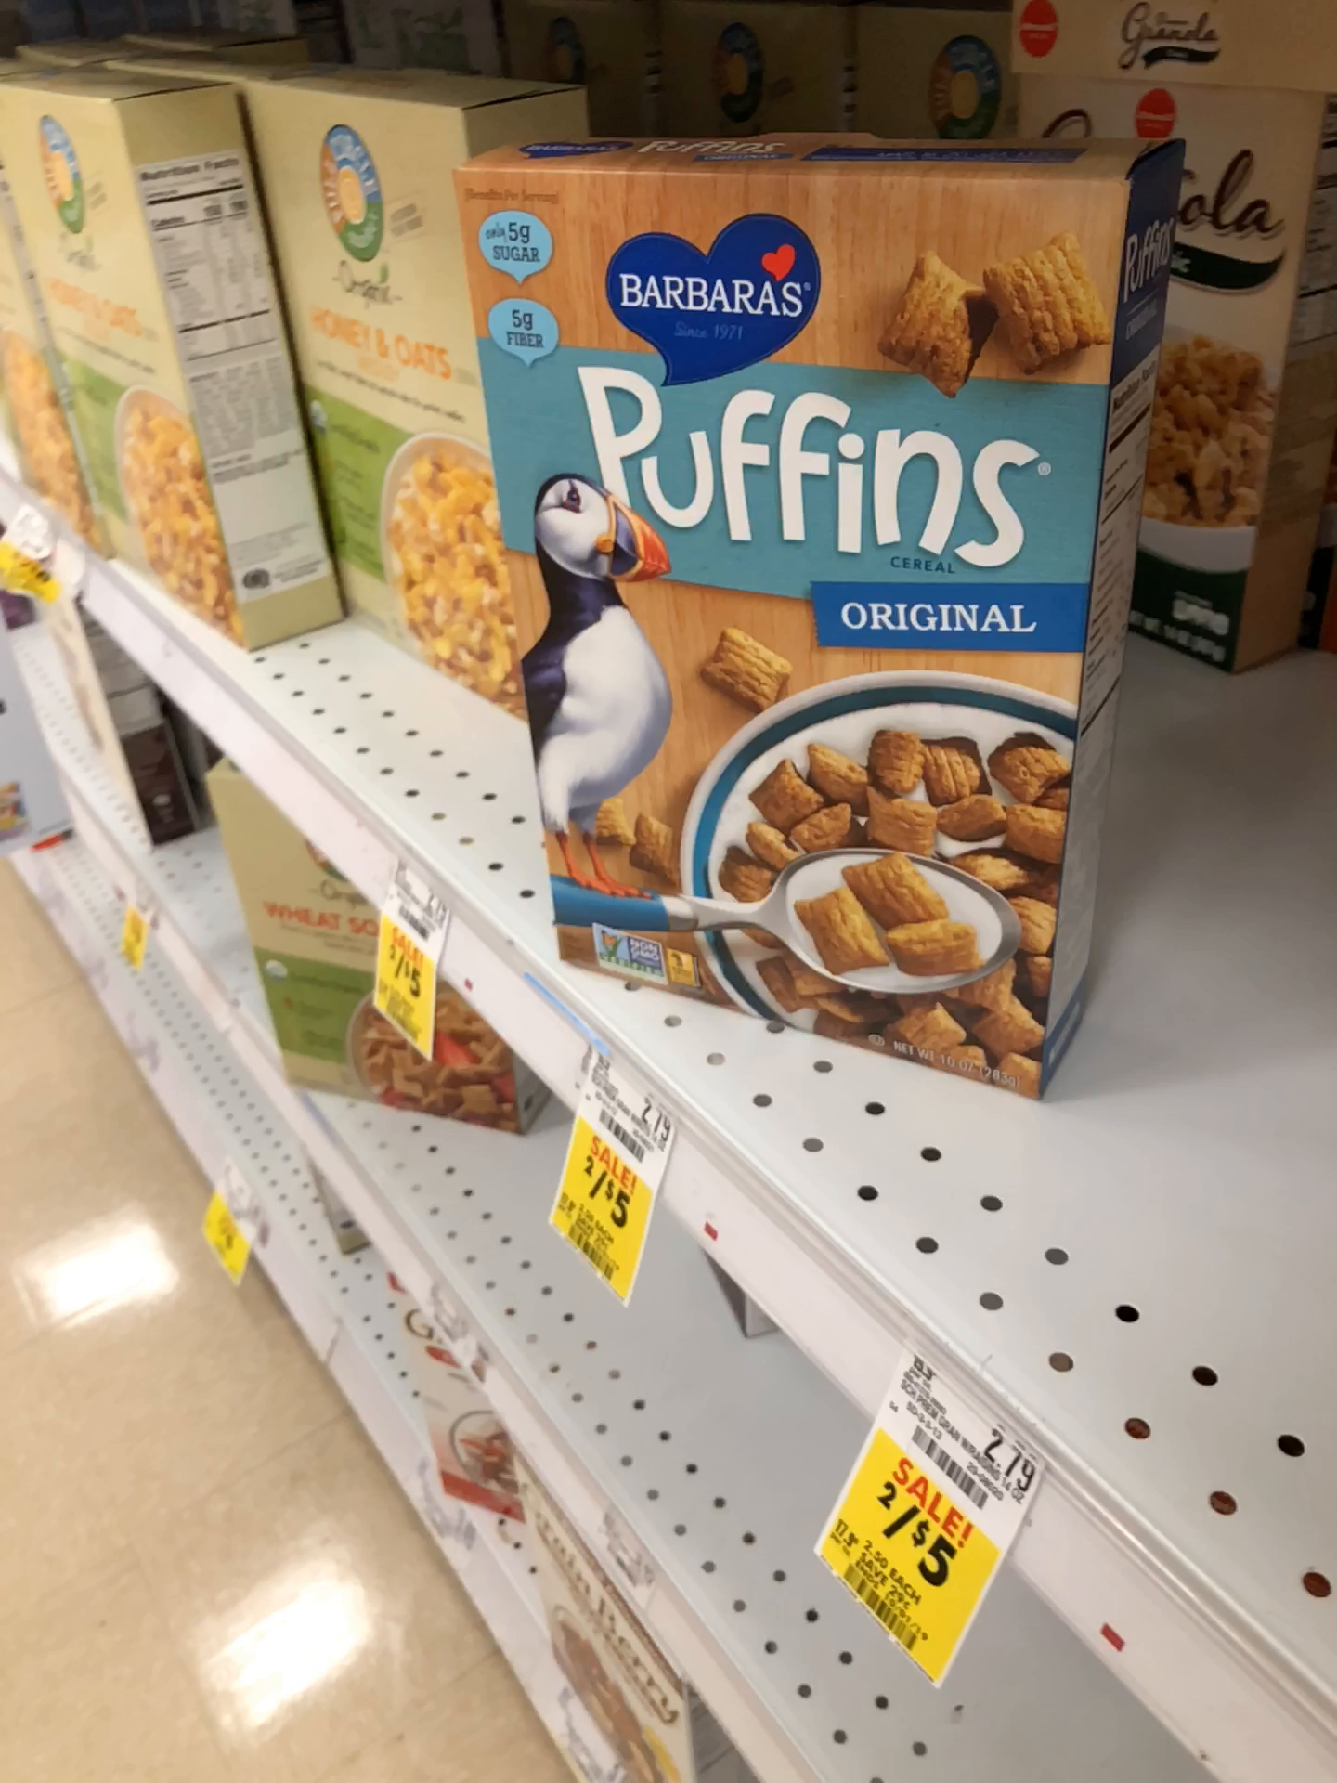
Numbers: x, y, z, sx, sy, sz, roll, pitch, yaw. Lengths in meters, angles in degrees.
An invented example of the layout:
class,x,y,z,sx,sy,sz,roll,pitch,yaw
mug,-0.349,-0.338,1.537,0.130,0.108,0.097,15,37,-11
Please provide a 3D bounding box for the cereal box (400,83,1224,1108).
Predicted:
class,x,y,z,sx,sy,sz,roll,pitch,yaw
cereal box,0.038,-0.080,0.429,0.190,0.259,0.060,14,38,27
